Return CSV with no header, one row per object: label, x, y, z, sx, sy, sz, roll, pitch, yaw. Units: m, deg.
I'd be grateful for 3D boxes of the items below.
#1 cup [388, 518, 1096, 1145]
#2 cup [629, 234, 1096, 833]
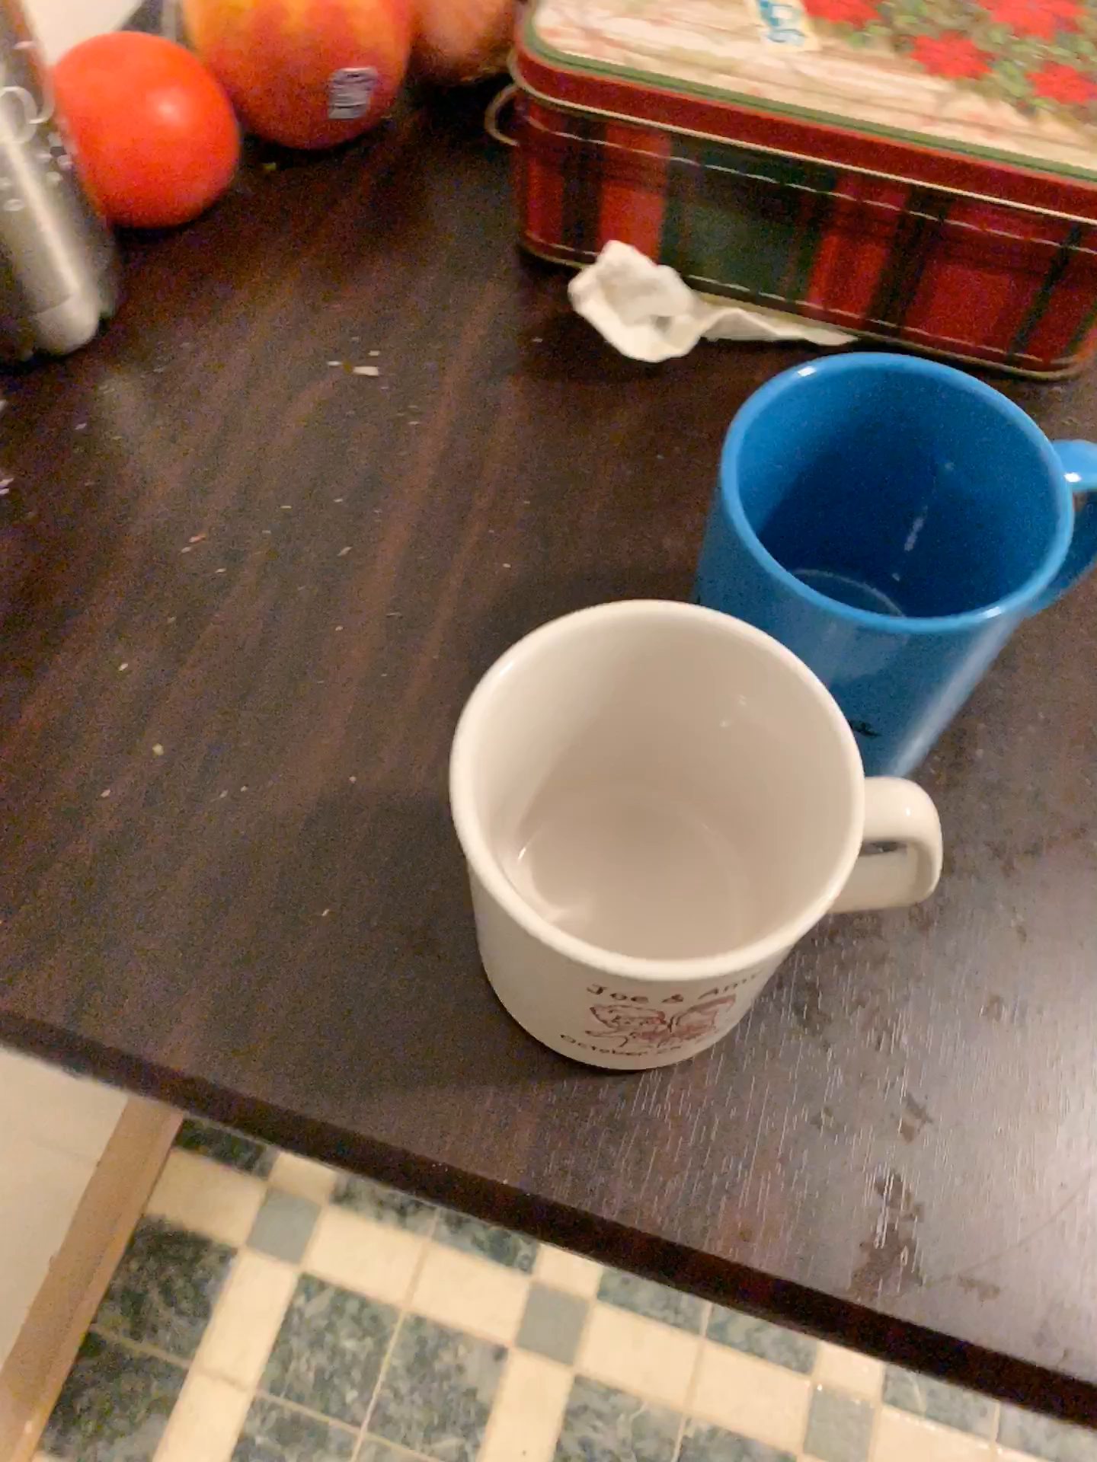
cup,0.040,0.028,0.265,0.130,0.100,0.090,-12,63,-7
cup,0.106,-0.049,0.302,0.140,0.100,0.090,-13,63,-8
